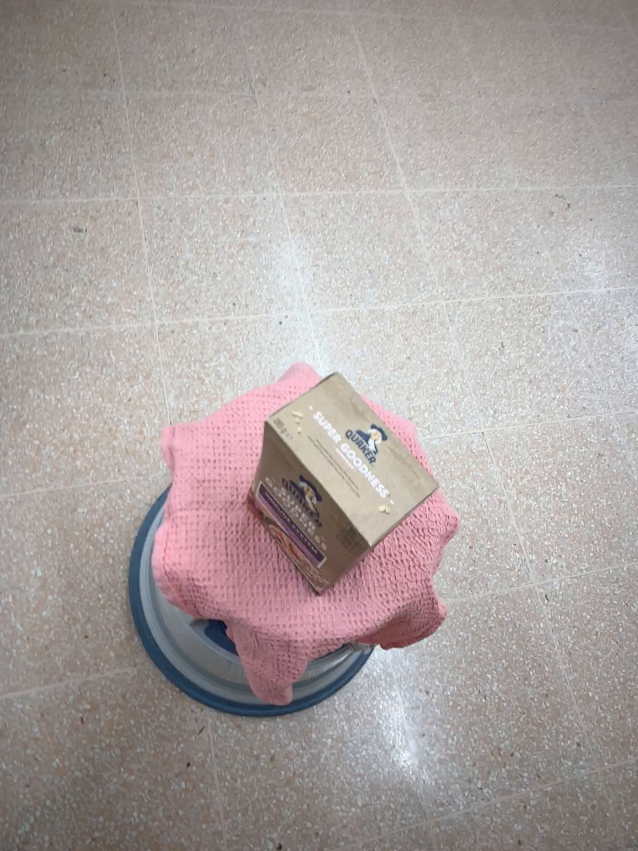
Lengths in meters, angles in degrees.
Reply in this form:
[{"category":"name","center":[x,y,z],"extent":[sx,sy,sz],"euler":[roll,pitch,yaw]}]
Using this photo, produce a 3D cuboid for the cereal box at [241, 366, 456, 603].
[{"category":"cereal box","center":[0.012,0.065,0.591],"extent":[0.090,0.209,0.130],"euler":[-37,78,-23]}]
